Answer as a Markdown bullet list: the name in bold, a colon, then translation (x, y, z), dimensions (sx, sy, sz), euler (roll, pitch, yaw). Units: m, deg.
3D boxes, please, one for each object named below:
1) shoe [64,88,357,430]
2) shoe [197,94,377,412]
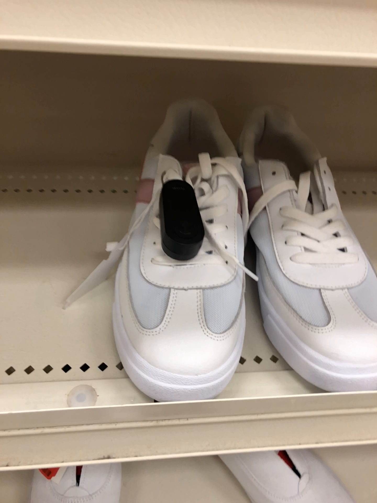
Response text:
- **shoe**: translation (-0.001, -0.051, 0.370), dimensions (0.120, 0.119, 0.393), euler (1, 29, -4)
- **shoe**: translation (0.100, -0.054, 0.397), dimensions (0.120, 0.119, 0.393), euler (-1, 29, -8)
